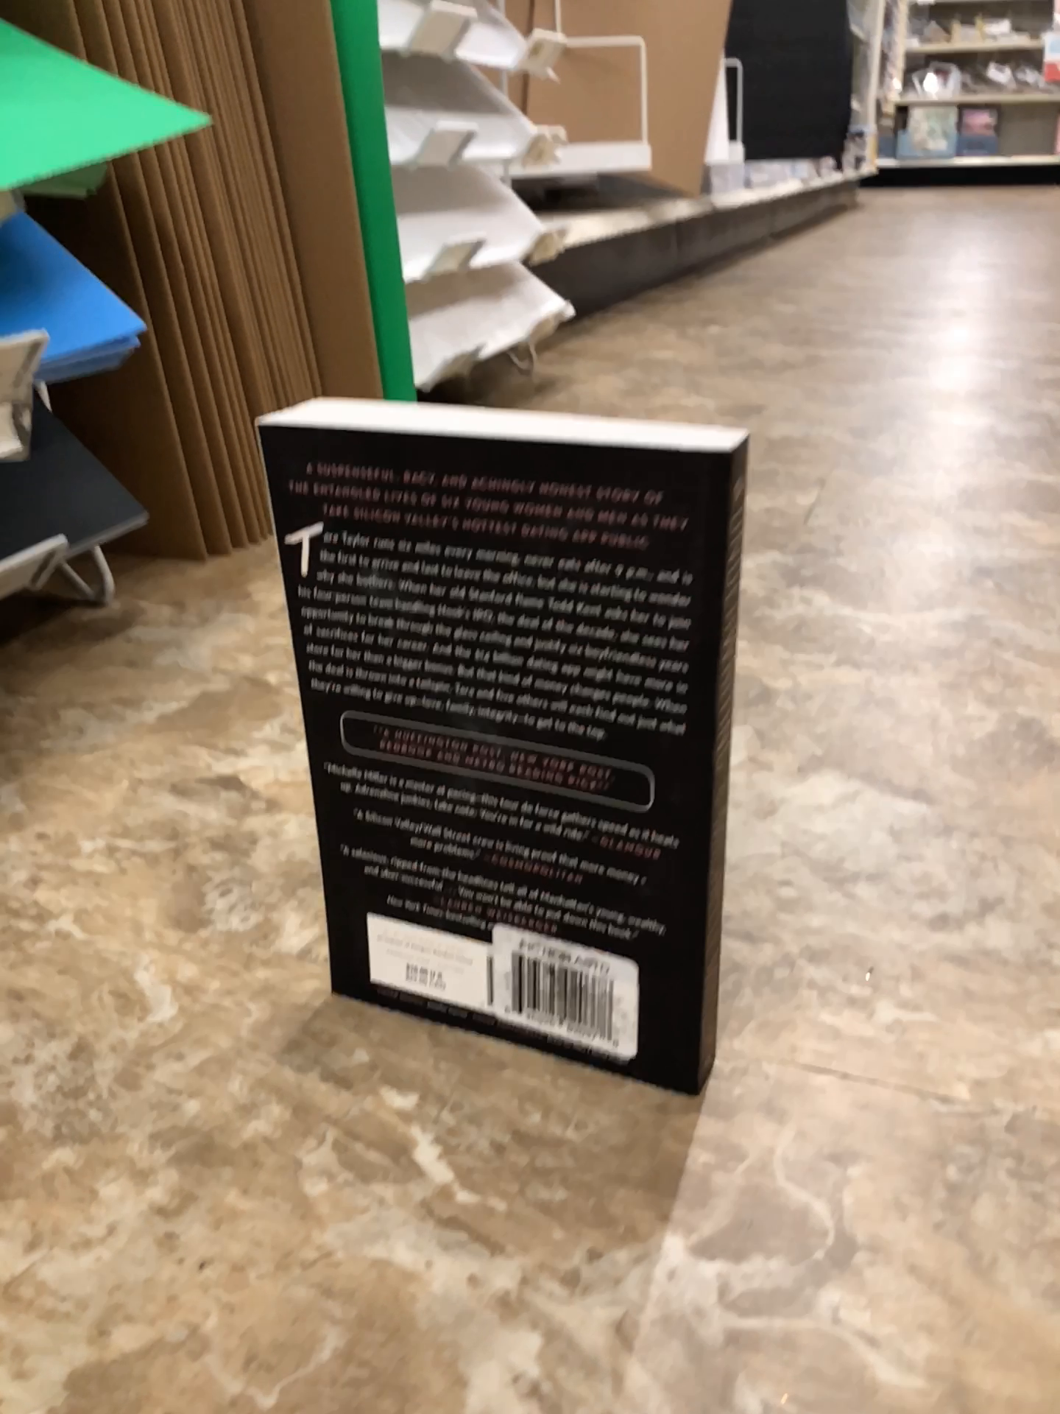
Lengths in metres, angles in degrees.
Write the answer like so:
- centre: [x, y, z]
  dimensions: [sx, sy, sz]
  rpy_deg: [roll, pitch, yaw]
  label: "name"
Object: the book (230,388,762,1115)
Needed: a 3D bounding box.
- centre: [-0.009, 0.014, 0.353]
  dimensions: [0.140, 0.203, 0.035]
  rpy_deg: [9, 27, 22]
  label: "book"
